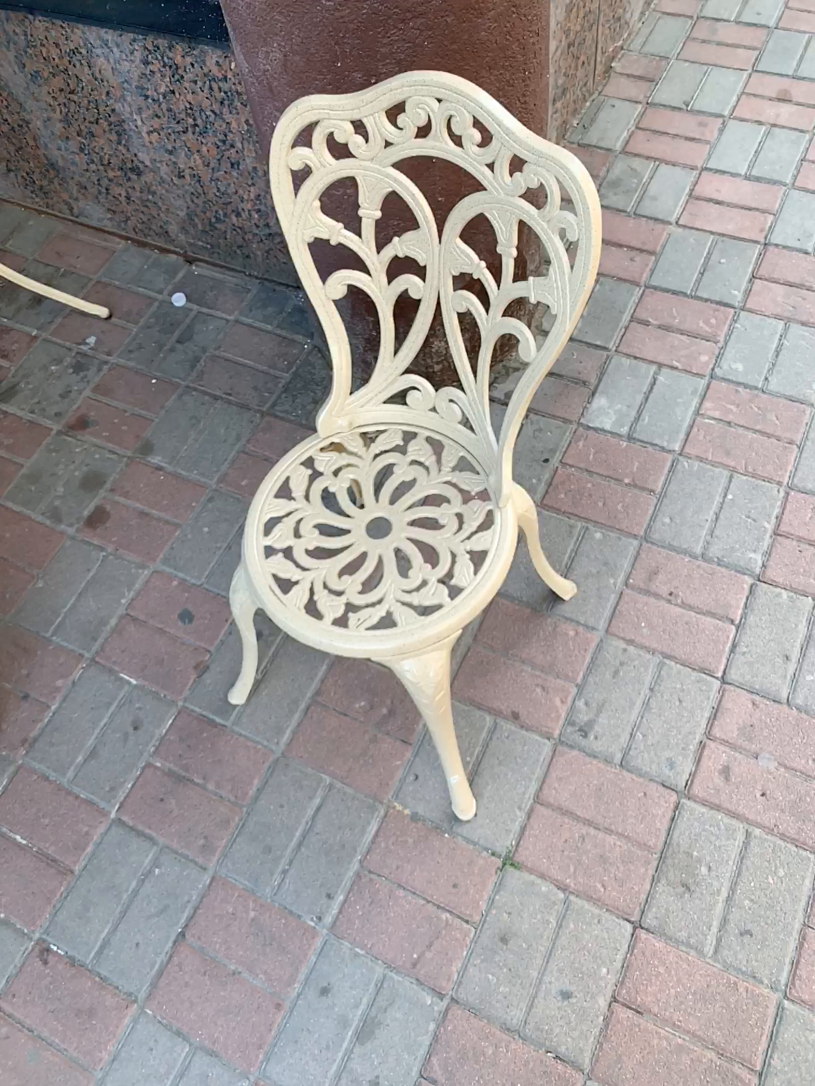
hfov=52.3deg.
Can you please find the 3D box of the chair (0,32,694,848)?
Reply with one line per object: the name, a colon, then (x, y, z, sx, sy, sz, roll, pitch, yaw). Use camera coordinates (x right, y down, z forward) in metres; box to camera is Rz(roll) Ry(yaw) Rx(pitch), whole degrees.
chair: (-0.035, -0.059, 1.062, 0.481, 0.798, 0.551, 22, 64, 19)
